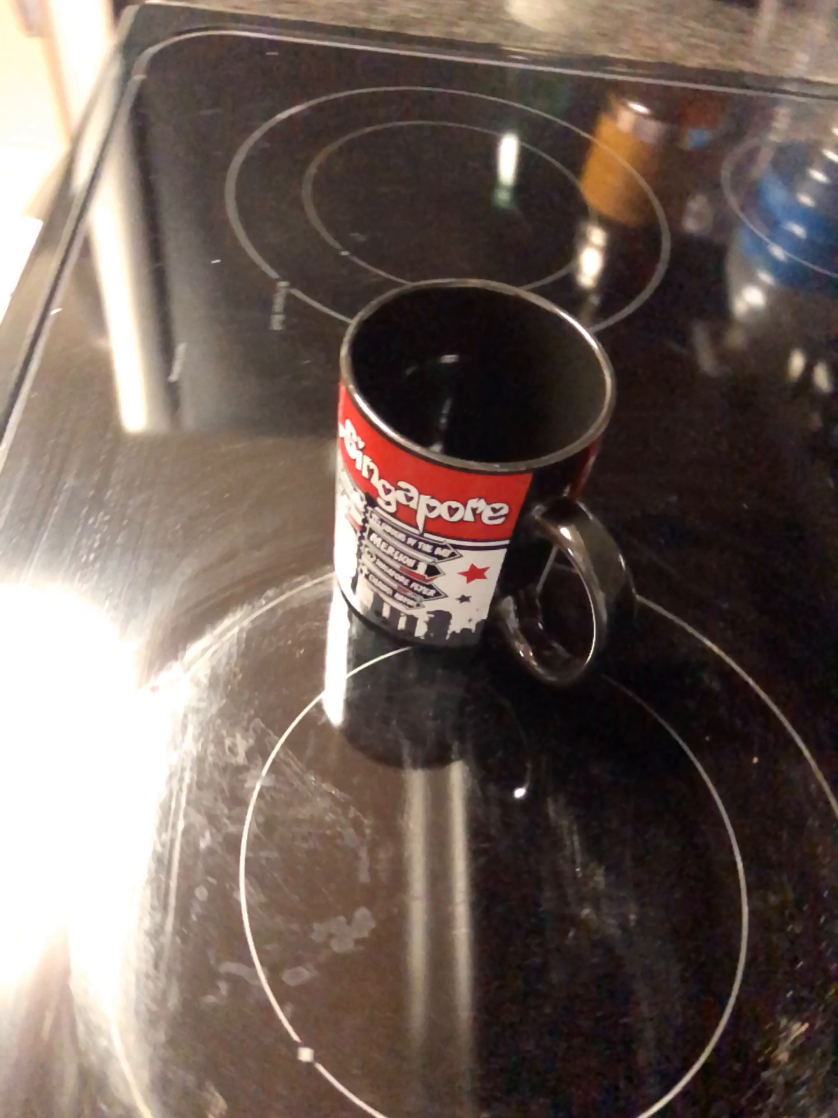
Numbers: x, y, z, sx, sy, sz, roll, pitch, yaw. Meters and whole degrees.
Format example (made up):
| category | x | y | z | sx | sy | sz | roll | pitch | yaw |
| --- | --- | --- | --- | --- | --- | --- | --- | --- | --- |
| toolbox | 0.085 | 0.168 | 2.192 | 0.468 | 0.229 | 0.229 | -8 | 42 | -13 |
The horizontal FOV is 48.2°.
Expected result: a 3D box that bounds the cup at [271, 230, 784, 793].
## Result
| category | x | y | z | sx | sy | sz | roll | pitch | yaw |
| --- | --- | --- | --- | --- | --- | --- | --- | --- | --- |
| cup | 0.020 | -0.019 | 0.293 | 0.090 | 0.090 | 0.130 | -18 | 58 | -20 |
